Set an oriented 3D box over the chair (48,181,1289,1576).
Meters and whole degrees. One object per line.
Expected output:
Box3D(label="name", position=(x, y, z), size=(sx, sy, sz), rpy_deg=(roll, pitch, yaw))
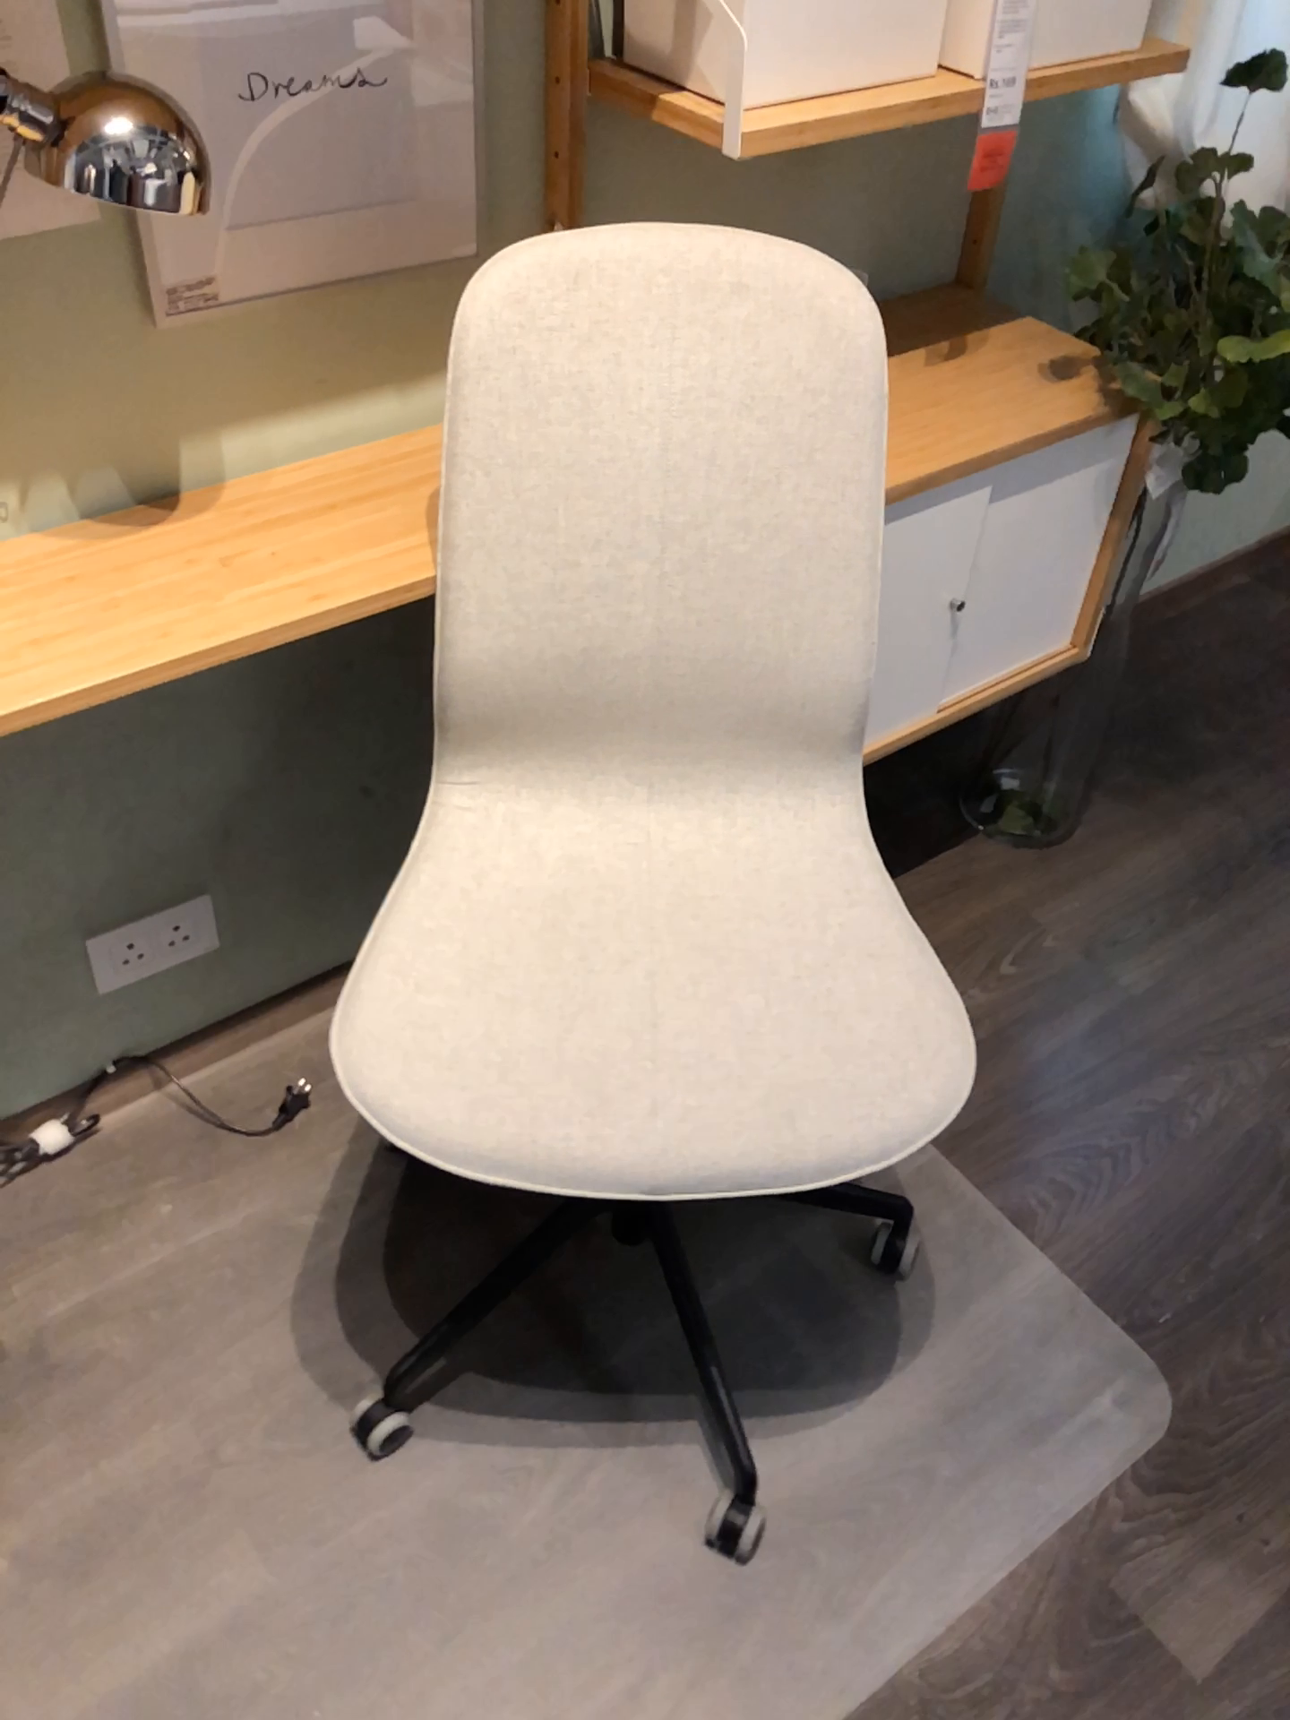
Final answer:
Box3D(label="chair", position=(0.038, 0.045, 1.159), size=(0.620, 0.904, 0.654), rpy_deg=(3, 42, -1))
